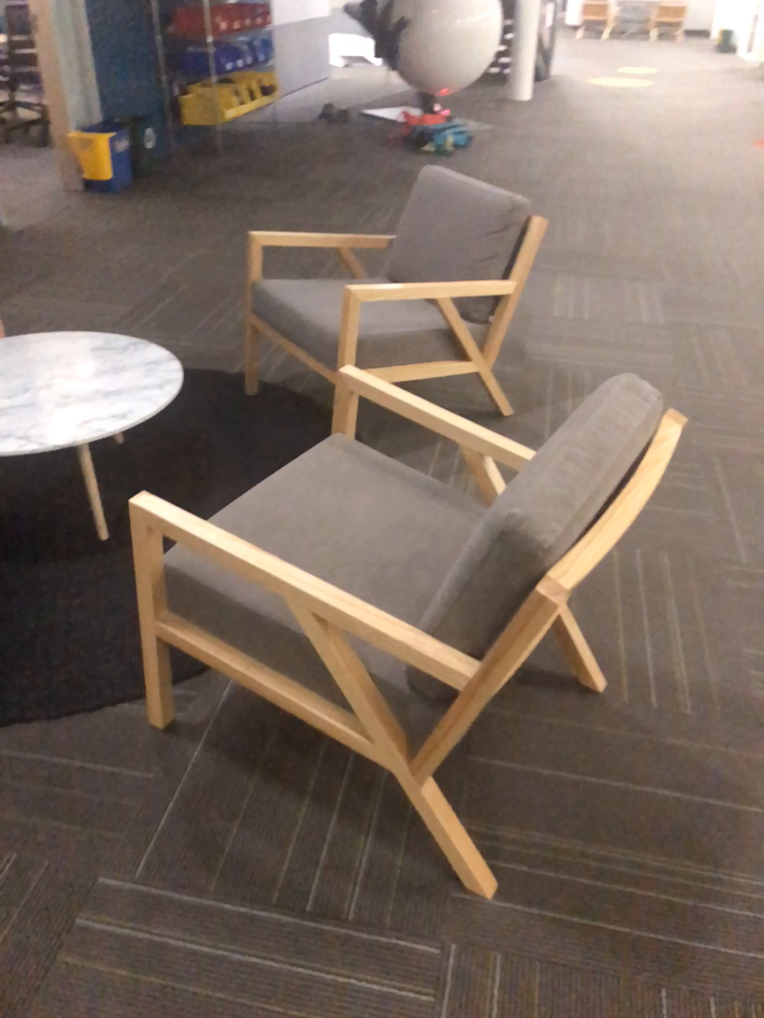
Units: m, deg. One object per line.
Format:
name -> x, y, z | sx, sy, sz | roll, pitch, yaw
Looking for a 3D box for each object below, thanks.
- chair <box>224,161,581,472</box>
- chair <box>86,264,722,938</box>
chair -> 0.024, -0.701, 2.804 | 0.874, 0.754, 0.723 | -14, 36, -31
chair -> 0.049, 0.095, 1.602 | 0.801, 0.773, 0.726 | 22, 38, 24
